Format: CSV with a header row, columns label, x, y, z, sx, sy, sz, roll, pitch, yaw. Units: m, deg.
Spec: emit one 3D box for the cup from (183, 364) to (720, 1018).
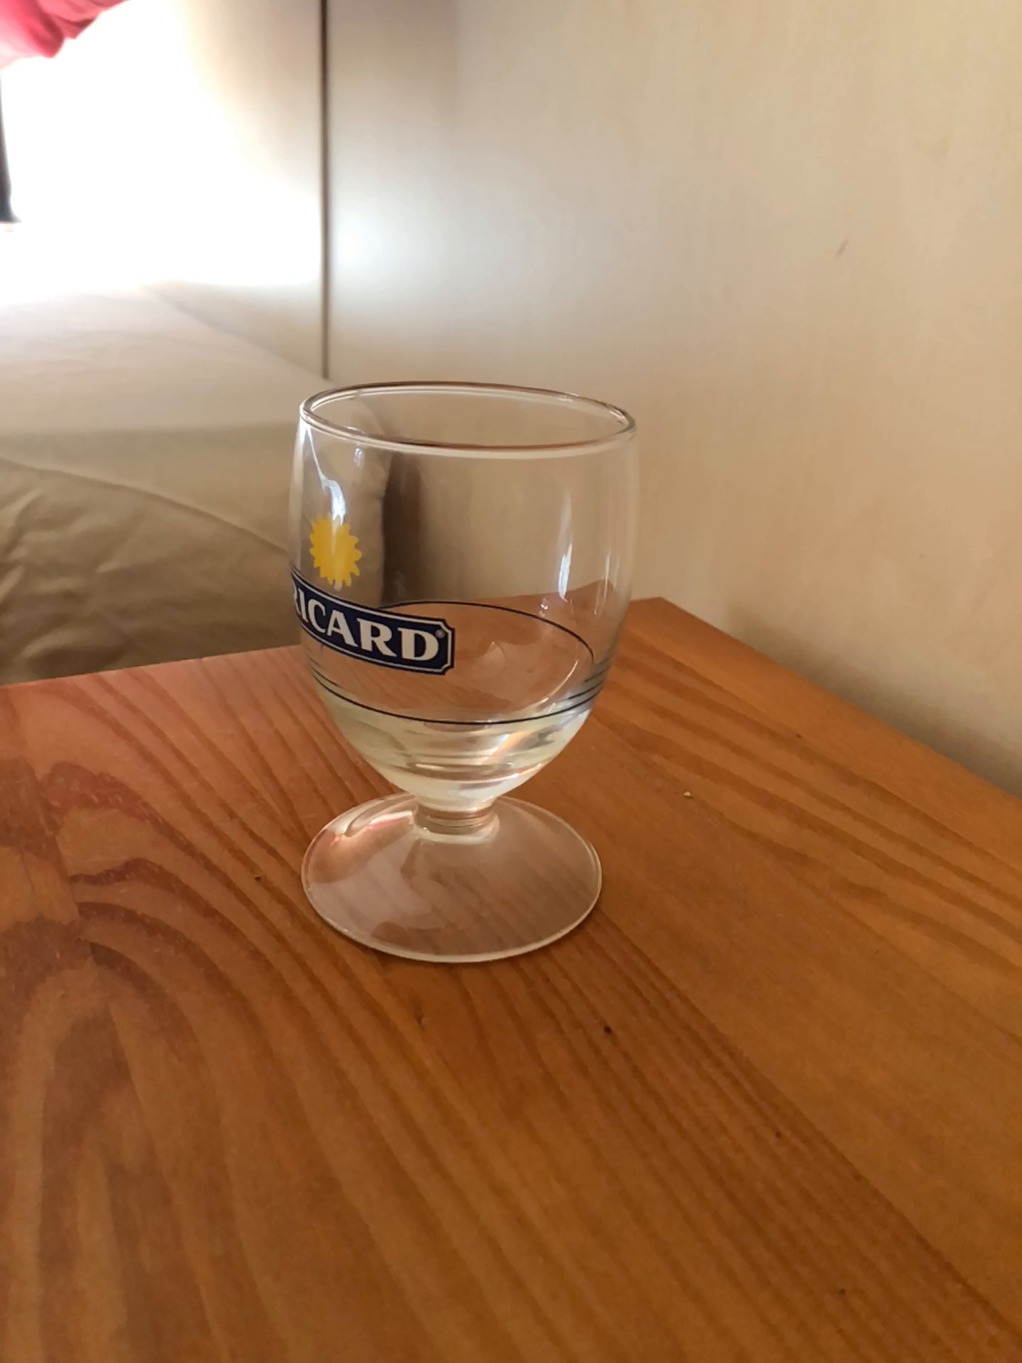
label,x,y,z,sx,sy,sz,roll,pitch,yaw
cup,-0.013,-0.005,0.226,0.069,0.098,0.069,3,24,-1
